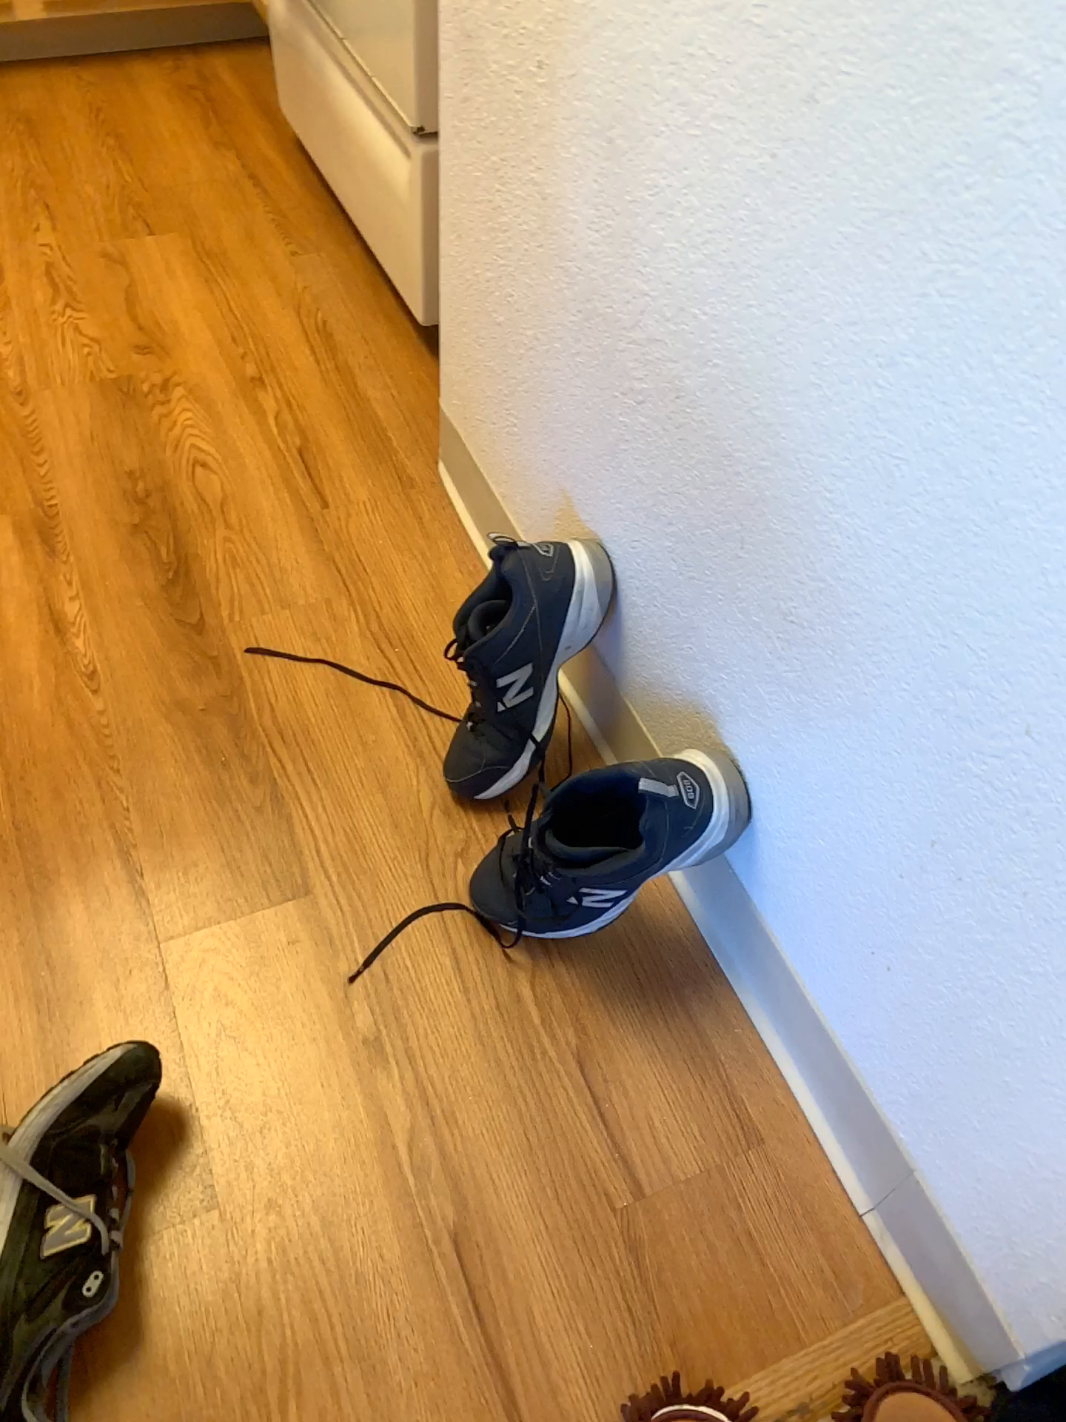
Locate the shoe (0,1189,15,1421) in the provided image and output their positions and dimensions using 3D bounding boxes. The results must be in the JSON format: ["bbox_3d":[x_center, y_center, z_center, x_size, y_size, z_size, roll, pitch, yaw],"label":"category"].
[{"bbox_3d":[-0.550,0.538,0.813,0.301,0.169,0.120,37,57,23],"label":"shoe"}]

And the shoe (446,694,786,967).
[{"bbox_3d":[0.056,0.101,0.881,0.110,0.259,0.110,-3,62,-40],"label":"shoe"}]

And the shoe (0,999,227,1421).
[{"bbox_3d":[-0.358,0.387,0.804,0.110,0.109,0.301,11,50,13],"label":"shoe"}]

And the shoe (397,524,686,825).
[{"bbox_3d":[0.006,-0.044,1.170,0.150,0.259,0.180,40,32,25],"label":"shoe"}]
